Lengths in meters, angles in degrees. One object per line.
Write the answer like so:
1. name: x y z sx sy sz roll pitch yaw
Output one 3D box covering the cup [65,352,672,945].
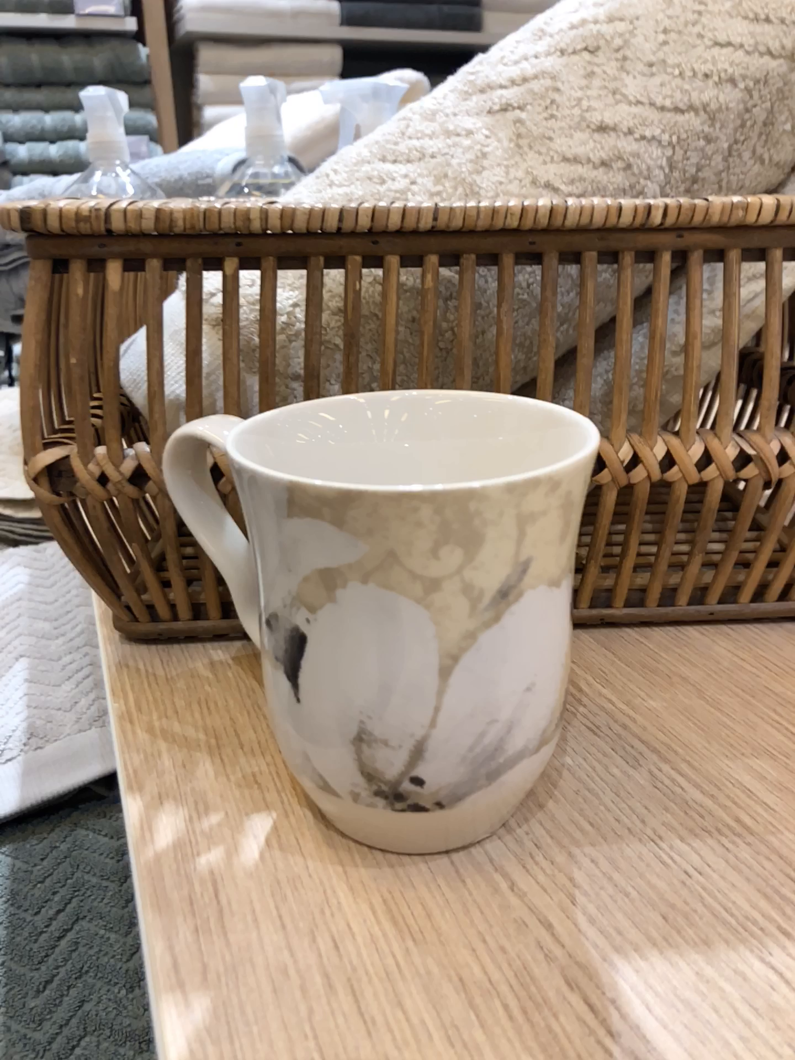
1. cup: -0.010 0.014 0.243 0.130 0.099 0.090 18 28 40
